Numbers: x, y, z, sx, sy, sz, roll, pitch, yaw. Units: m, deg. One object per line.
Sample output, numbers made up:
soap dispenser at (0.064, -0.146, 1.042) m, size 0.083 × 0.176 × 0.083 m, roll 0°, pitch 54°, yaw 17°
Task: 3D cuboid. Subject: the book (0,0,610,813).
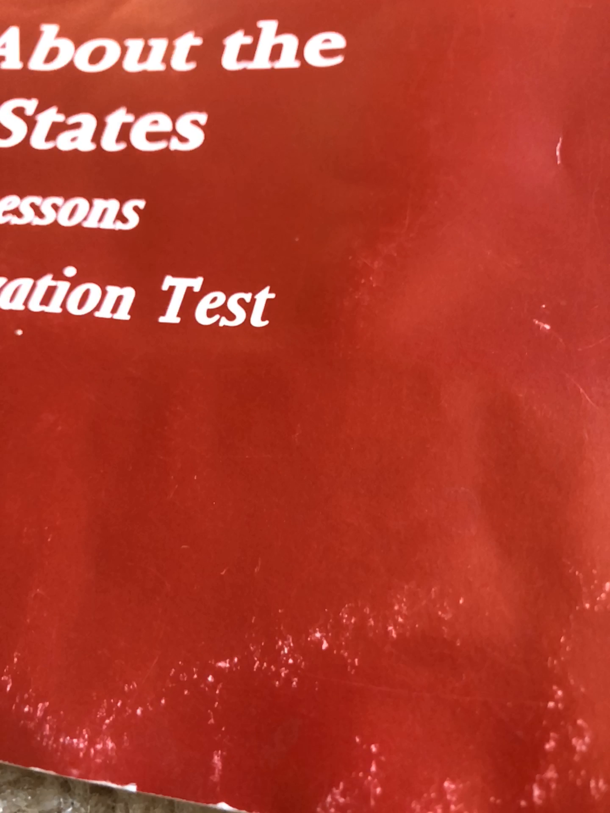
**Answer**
book at (-0.007, -0.078, 0.139) m, size 0.208 × 0.028 × 0.274 m, roll 5°, pitch 65°, yaw 11°
